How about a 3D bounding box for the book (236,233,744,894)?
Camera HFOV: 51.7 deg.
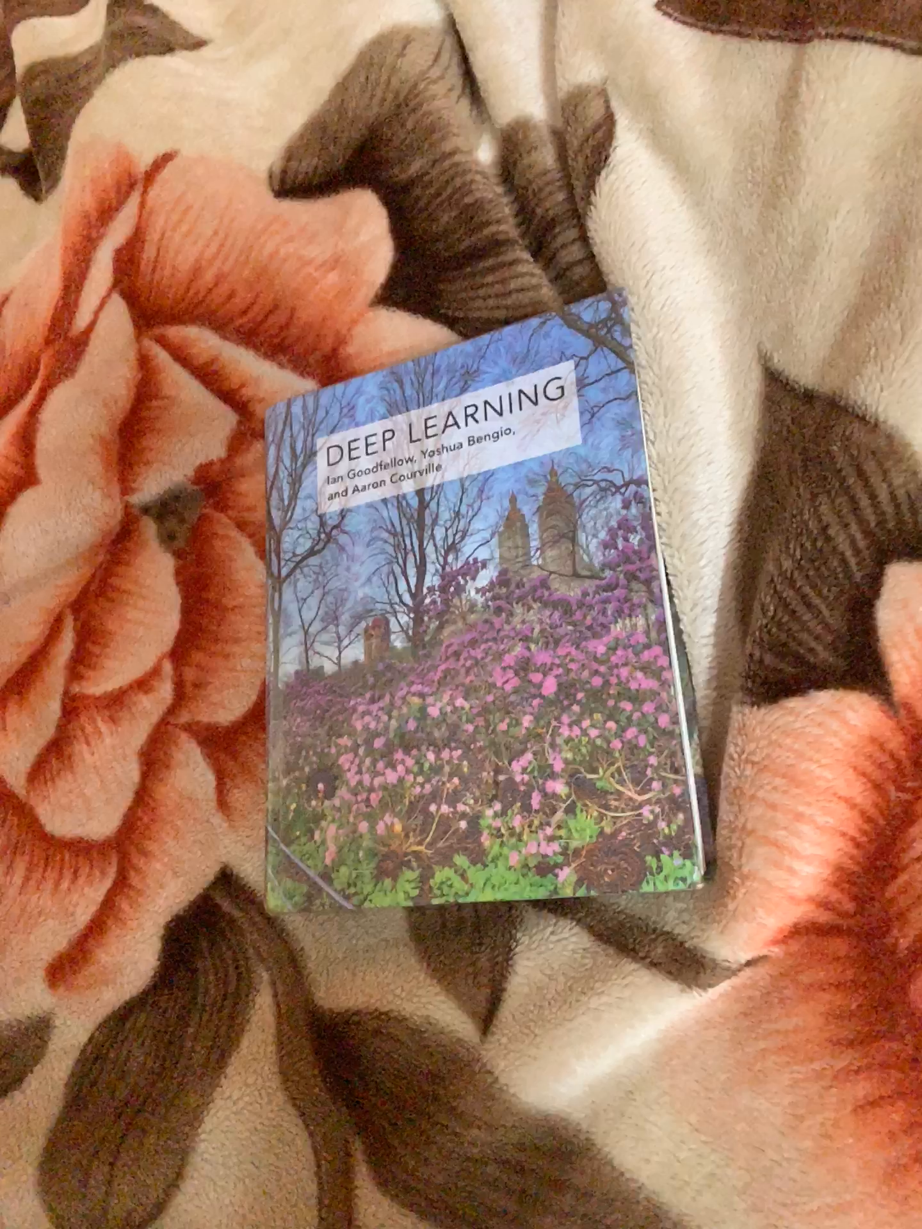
[{"bbox_3d":[-0.003,-0.018,0.422,0.210,0.030,0.261,-11,71,23],"label":"book"}]
